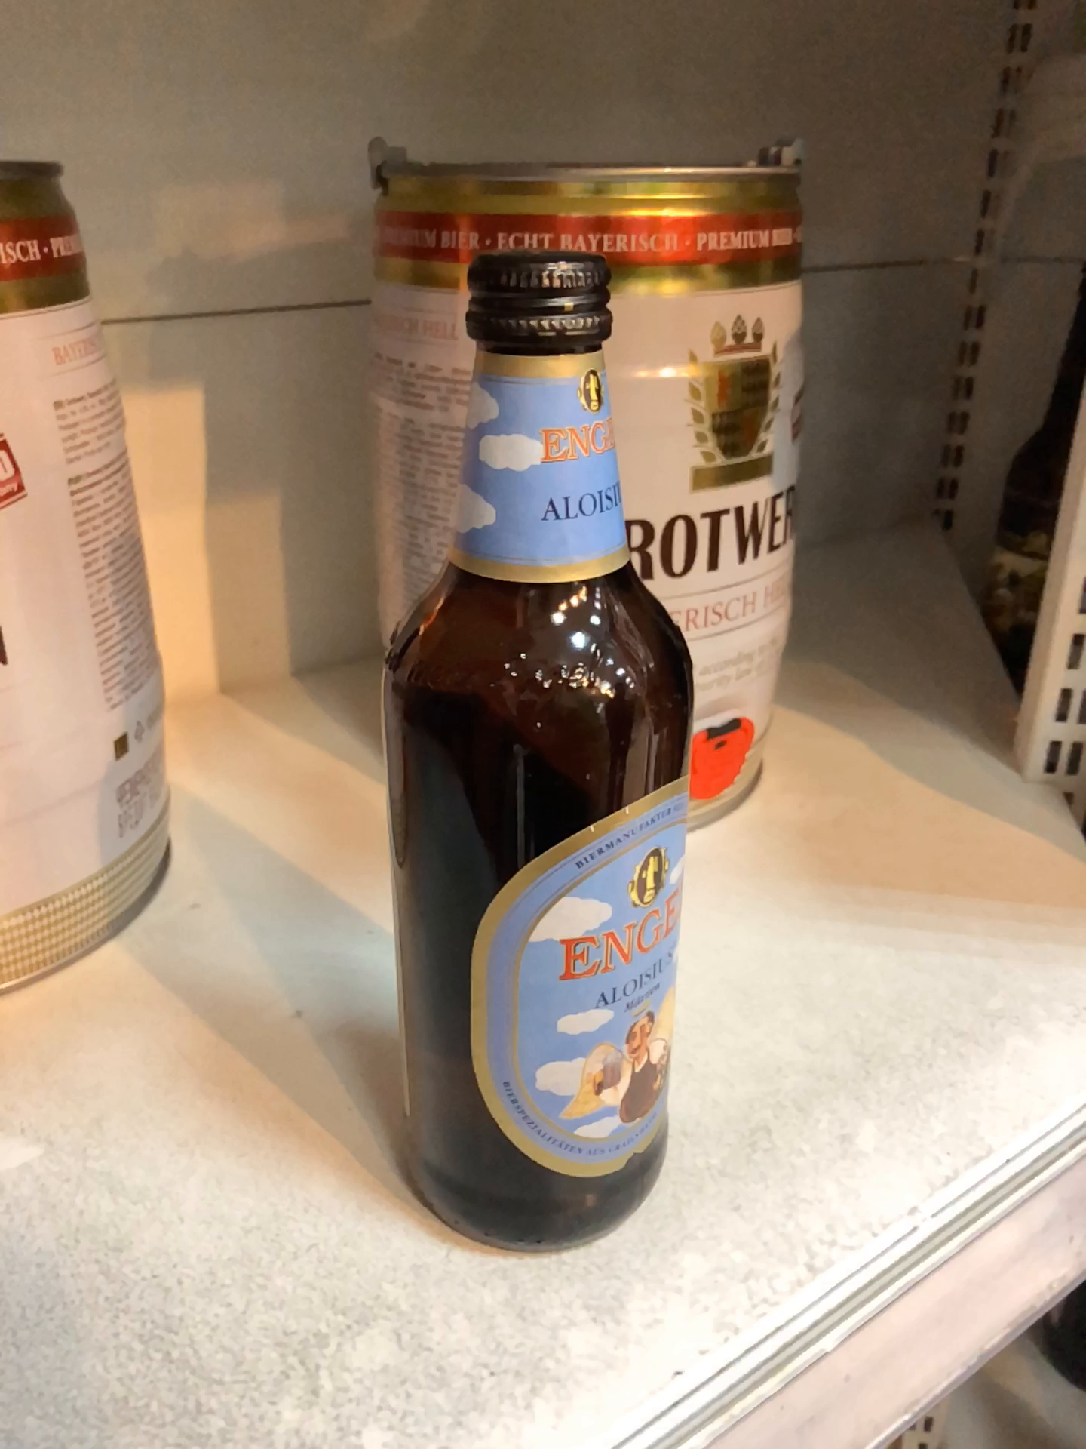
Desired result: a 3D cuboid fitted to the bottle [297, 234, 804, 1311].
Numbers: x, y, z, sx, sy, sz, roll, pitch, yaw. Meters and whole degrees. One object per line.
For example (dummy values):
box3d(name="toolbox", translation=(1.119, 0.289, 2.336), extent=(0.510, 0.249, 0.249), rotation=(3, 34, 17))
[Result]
box3d(name="bottle", translation=(0.000, 0.013, 0.266), extent=(0.070, 0.219, 0.060), rotation=(-19, 32, -36))
